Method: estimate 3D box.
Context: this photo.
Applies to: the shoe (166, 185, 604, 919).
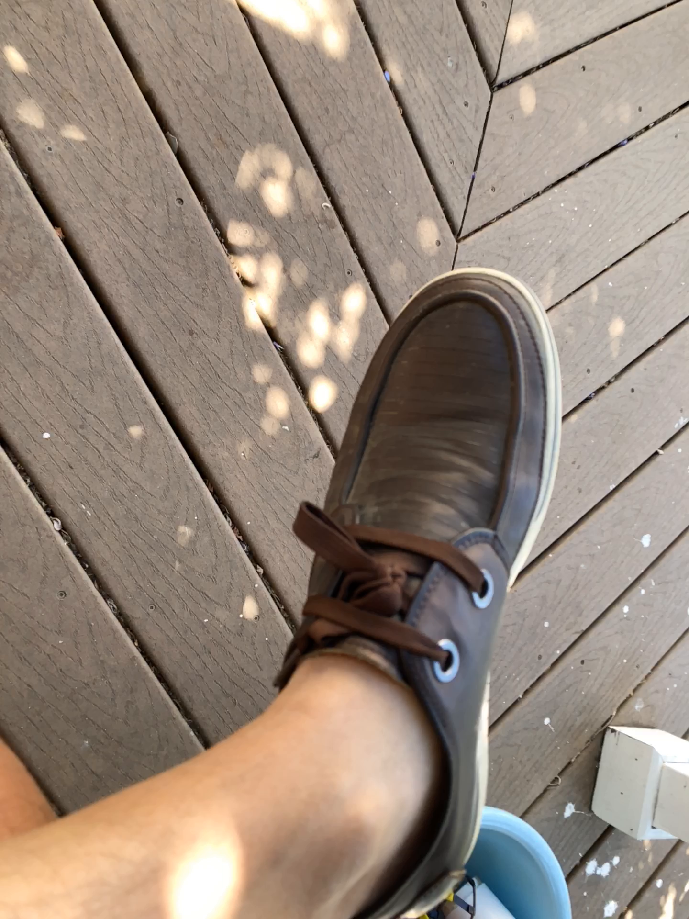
[{"bbox_3d":[0.028,0.044,0.311,0.102,0.097,0.274,23,79,-69],"label":"shoe"}]
